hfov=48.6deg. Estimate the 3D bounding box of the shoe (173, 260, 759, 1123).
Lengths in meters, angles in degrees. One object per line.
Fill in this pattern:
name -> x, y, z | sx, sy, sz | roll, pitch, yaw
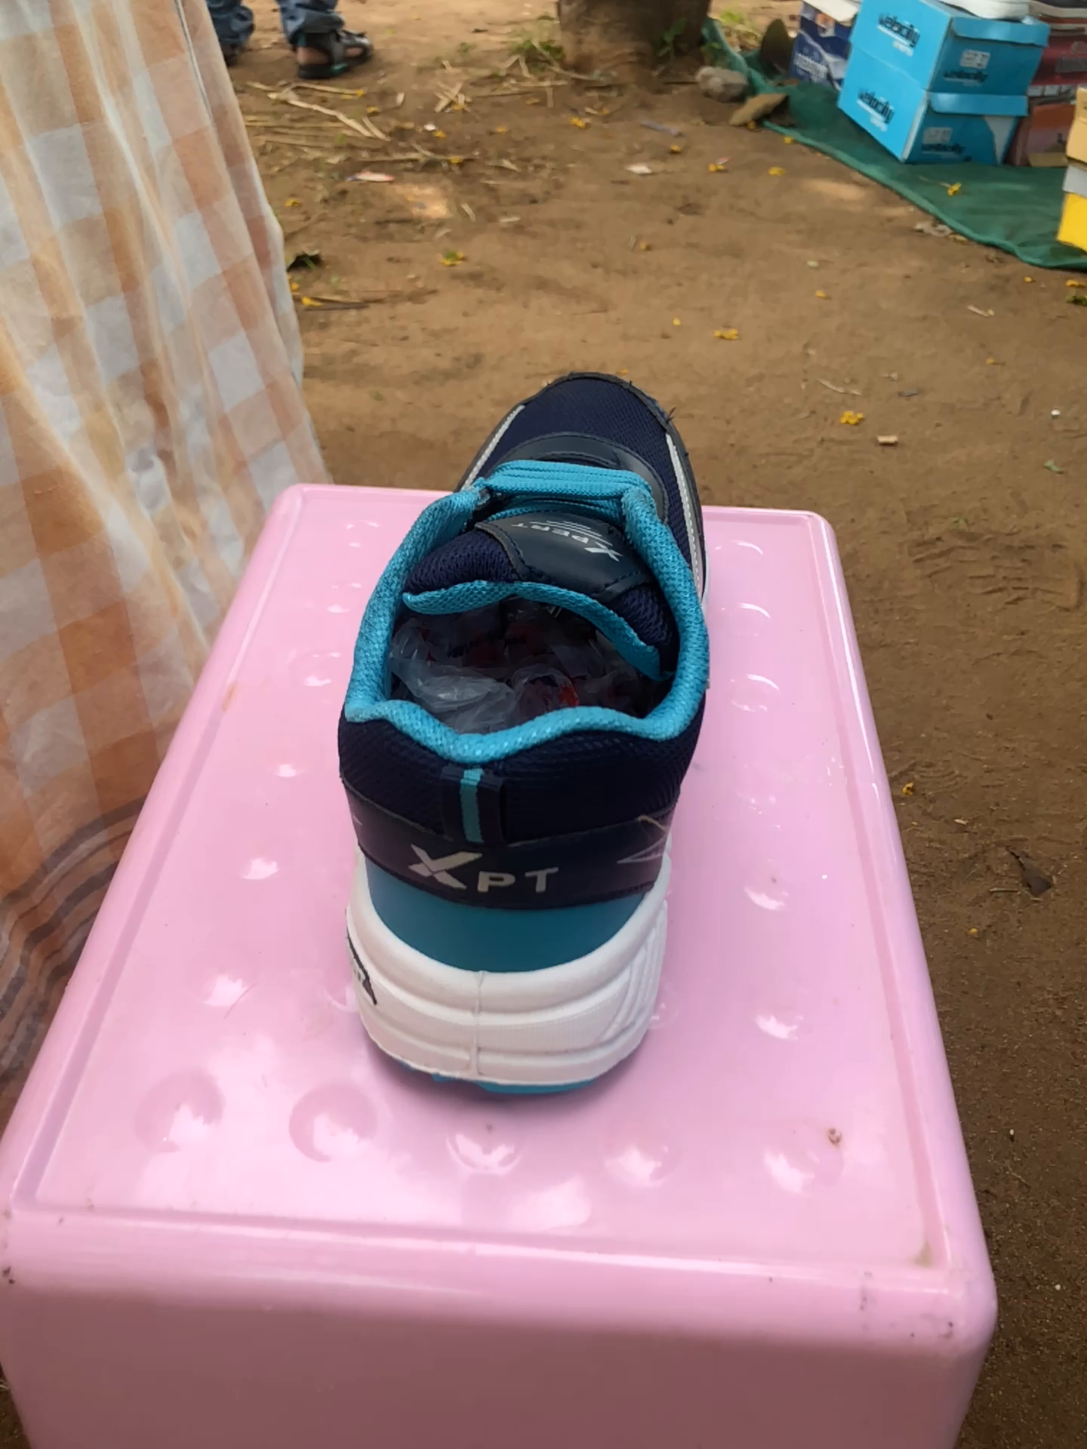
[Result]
shoe -> -0.001, -0.037, 0.362 | 0.110, 0.109, 0.271 | 5, 39, 4
